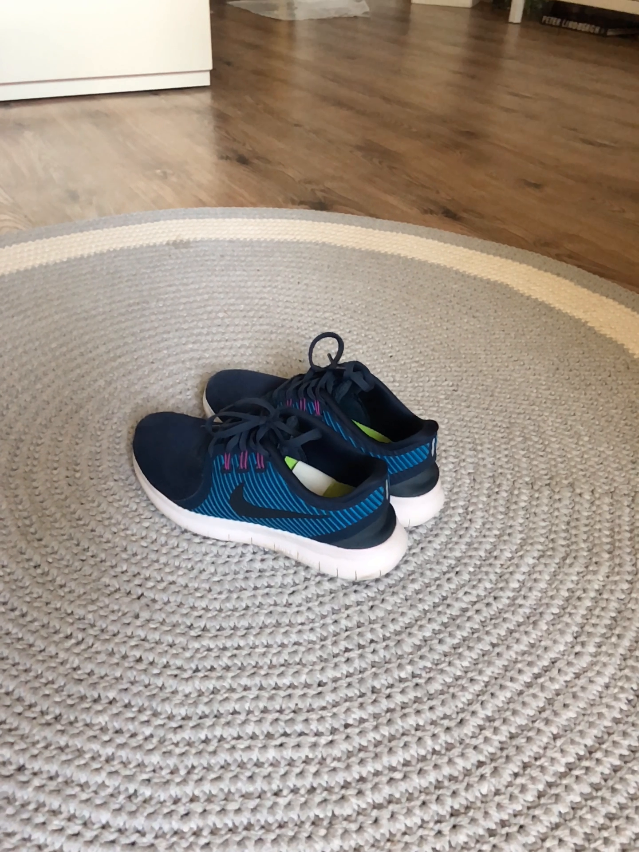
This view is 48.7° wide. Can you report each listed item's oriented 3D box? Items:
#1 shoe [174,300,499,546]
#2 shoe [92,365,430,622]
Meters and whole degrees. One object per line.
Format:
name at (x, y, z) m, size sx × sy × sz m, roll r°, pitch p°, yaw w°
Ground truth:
shoe at (0.005, -0.015, 0.621) m, size 0.270 × 0.080 × 0.100 m, roll 27°, pitch 43°, yaw 29°
shoe at (-0.049, 0.043, 0.565) m, size 0.244 × 0.080 × 0.100 m, roll 21°, pitch 40°, yaw 23°
